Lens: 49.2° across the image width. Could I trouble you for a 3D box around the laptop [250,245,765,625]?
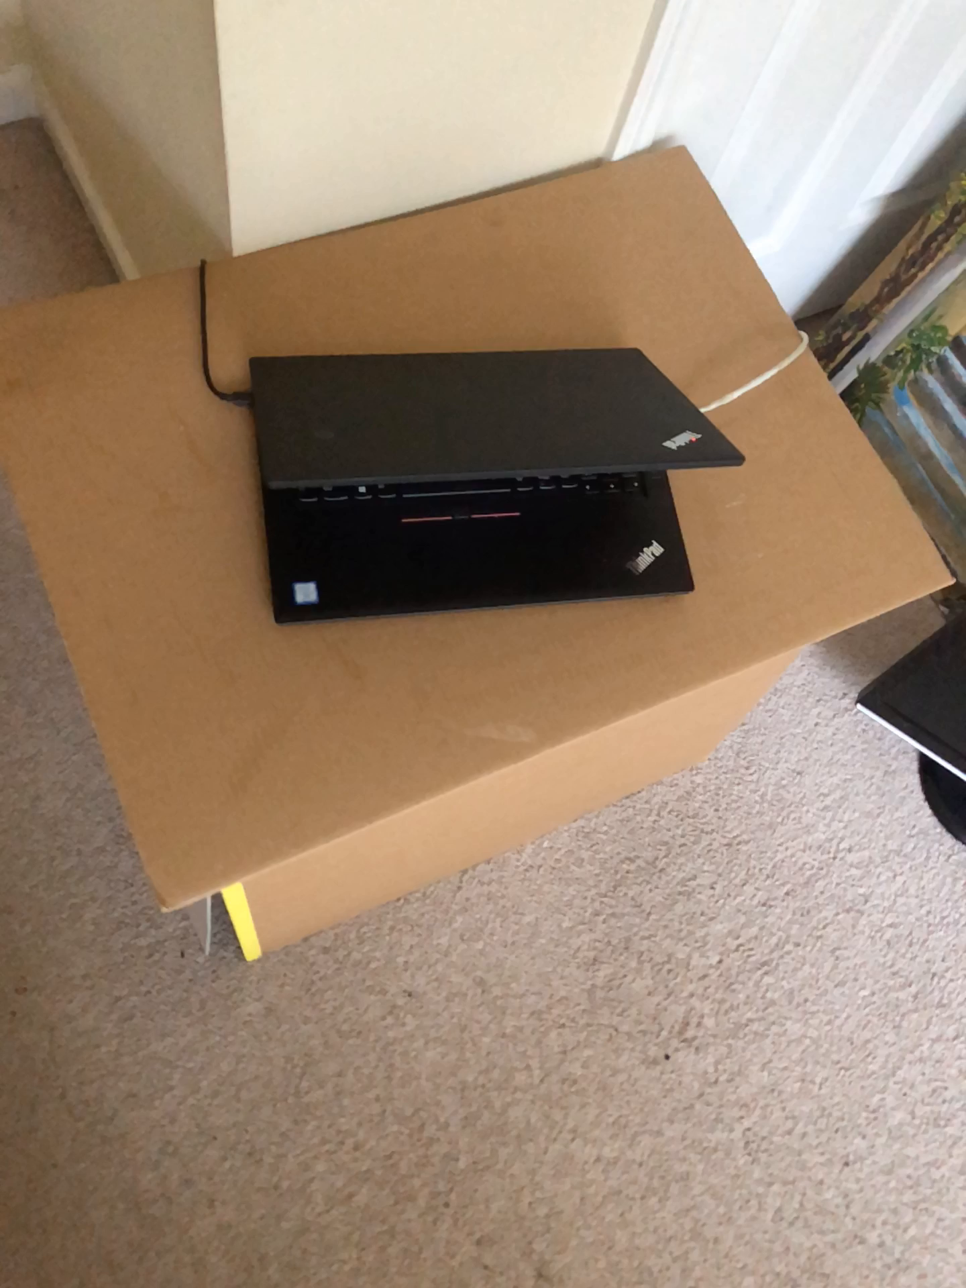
[{"bbox_3d":[0.004,-0.161,0.800,0.334,0.140,0.232,-5,68,-12],"label":"laptop"}]
